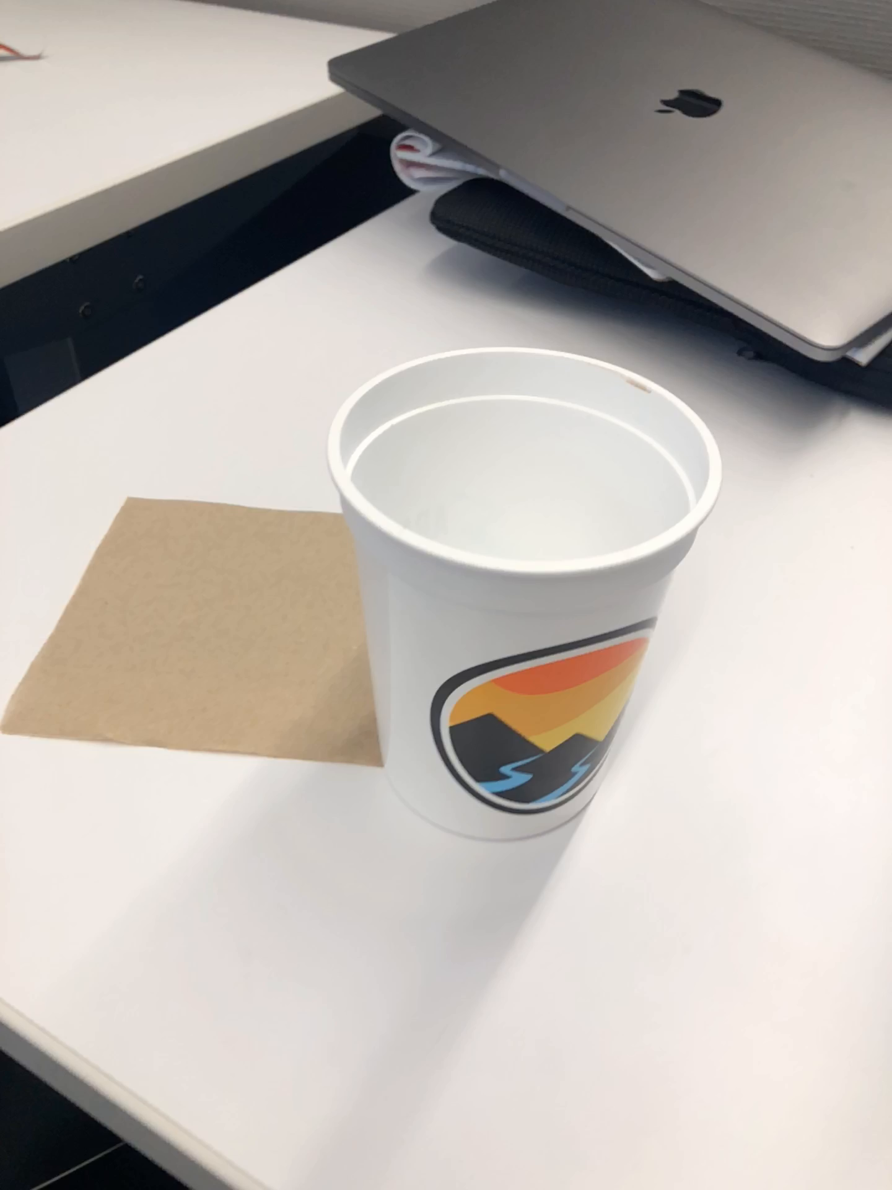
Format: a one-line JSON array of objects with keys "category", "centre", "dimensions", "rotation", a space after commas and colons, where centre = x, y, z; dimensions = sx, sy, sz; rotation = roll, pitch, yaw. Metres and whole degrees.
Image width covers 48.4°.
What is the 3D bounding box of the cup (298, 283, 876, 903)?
[{"category": "cup", "centre": [0.023, -0.005, 0.241], "dimensions": [0.090, 0.100, 0.090], "rotation": [1, 40, -1]}]
